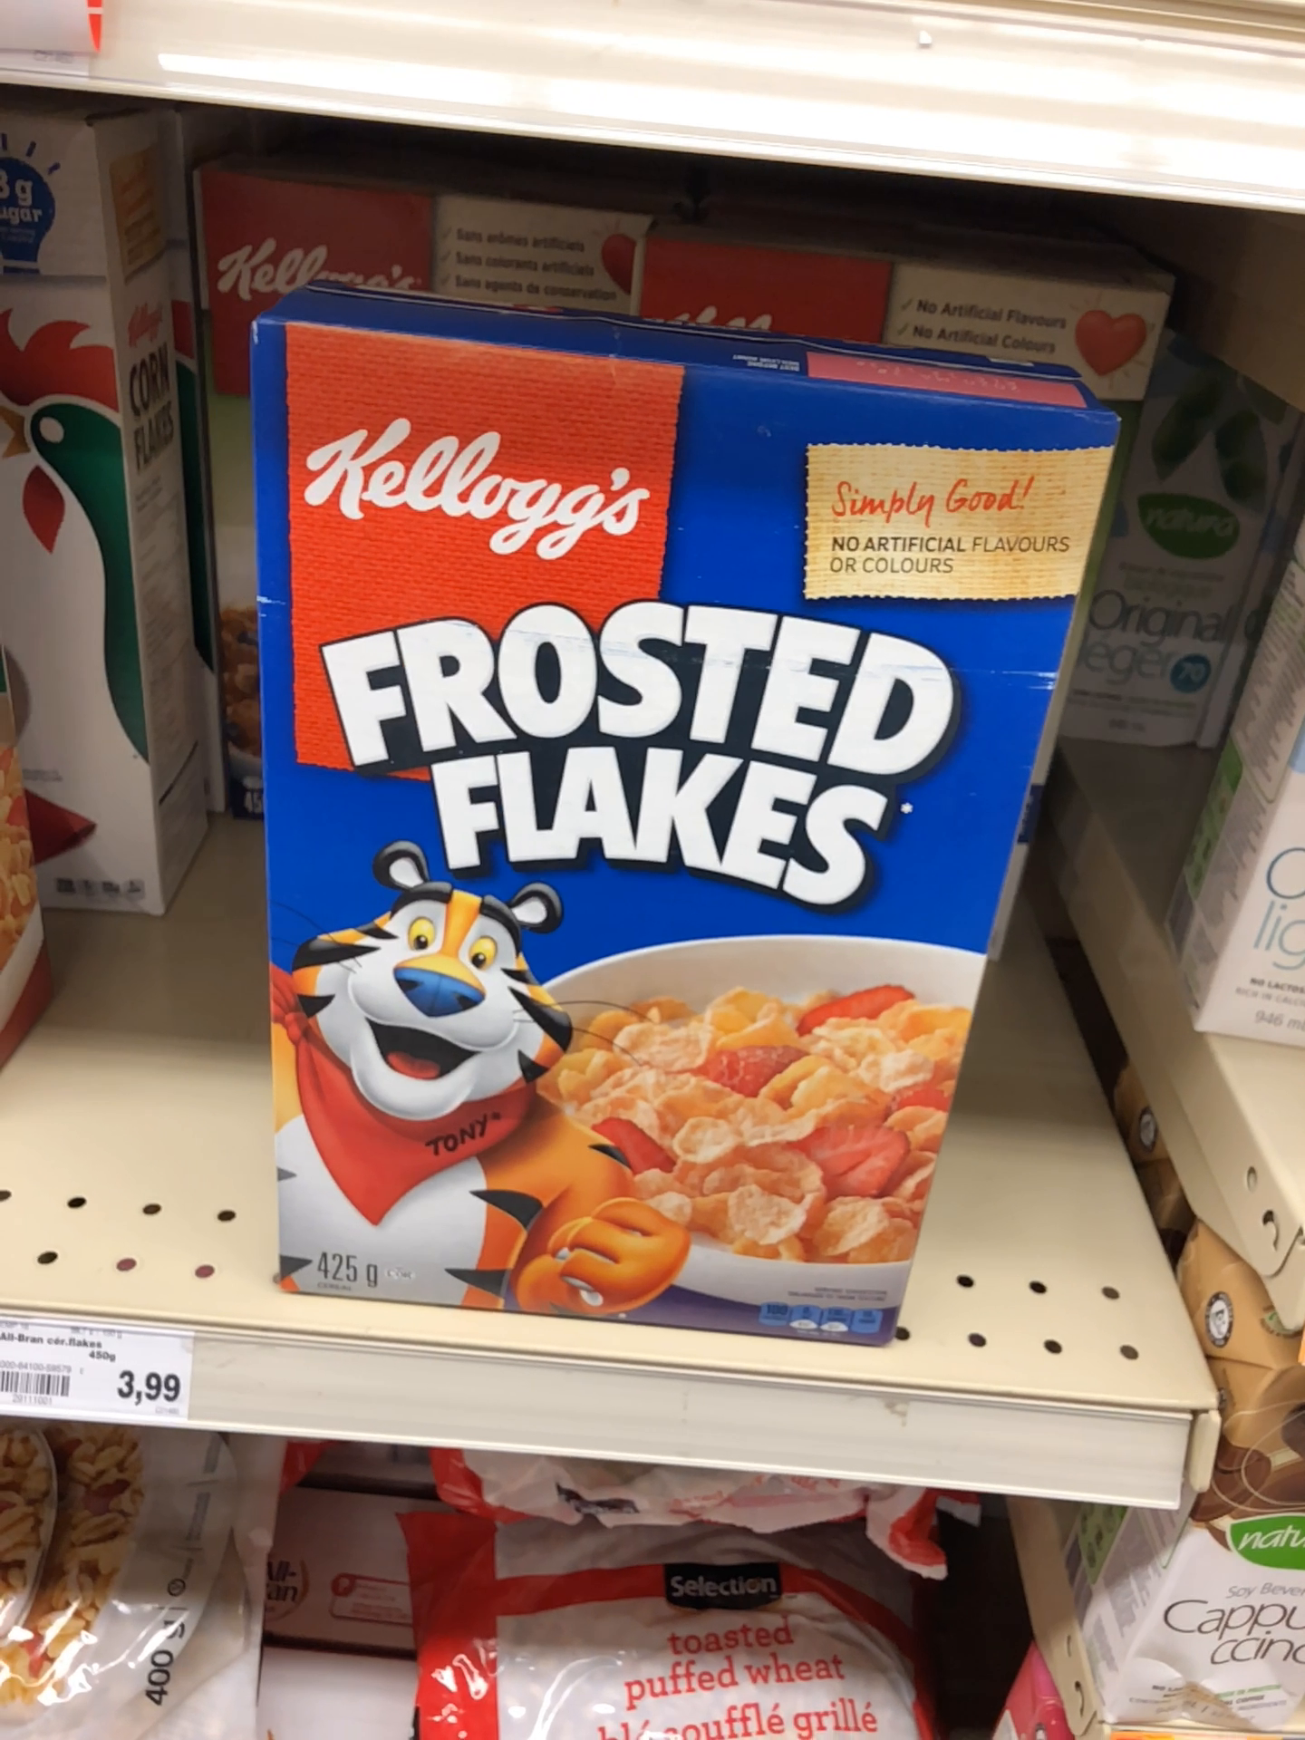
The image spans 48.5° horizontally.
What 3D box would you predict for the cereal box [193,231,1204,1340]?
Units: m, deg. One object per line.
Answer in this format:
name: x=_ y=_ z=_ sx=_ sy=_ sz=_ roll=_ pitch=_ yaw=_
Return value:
cereal box: x=-0.002 y=-0.008 z=0.391 sx=0.210 sy=0.278 sz=0.060 roll=6 pitch=28 yaw=0
